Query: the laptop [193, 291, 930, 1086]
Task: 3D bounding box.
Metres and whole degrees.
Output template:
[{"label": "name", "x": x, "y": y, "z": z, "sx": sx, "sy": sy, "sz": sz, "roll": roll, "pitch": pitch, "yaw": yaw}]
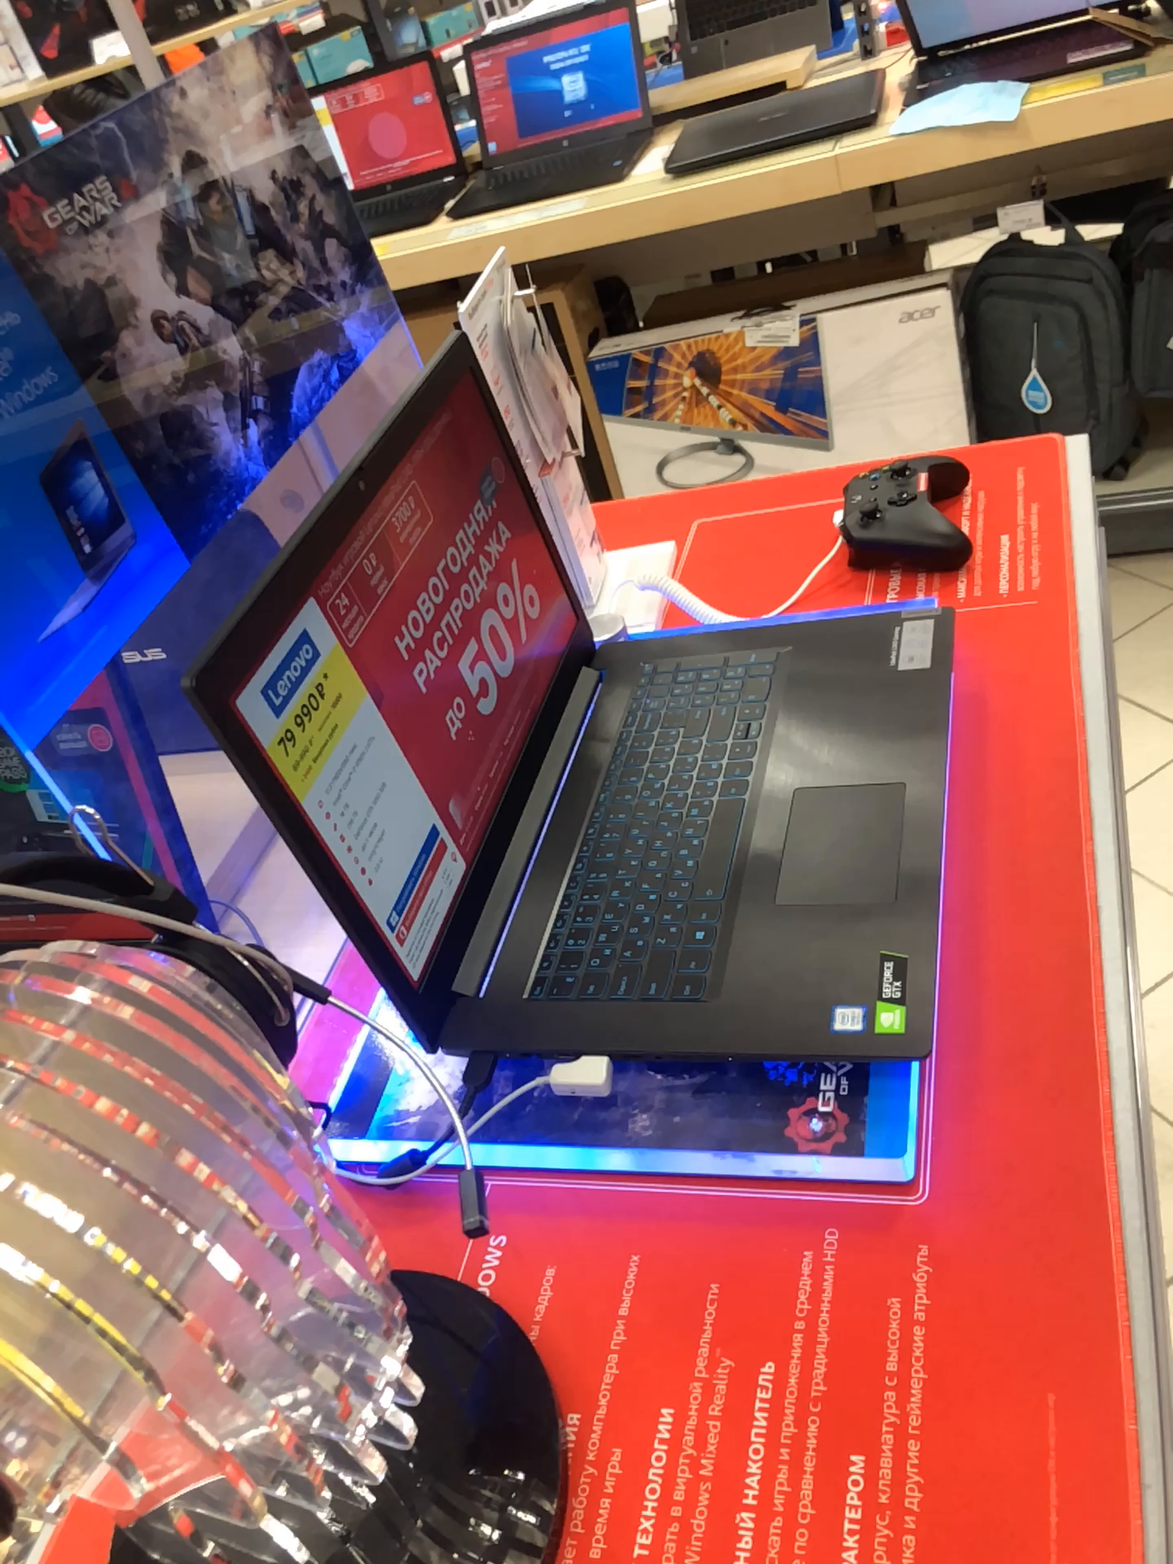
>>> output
[{"label": "laptop", "x": 0.032, "y": -0.078, "z": 0.782, "sx": 0.295, "sy": 0.255, "sz": 0.405, "roll": -2, "pitch": 39, "yaw": 21}]
